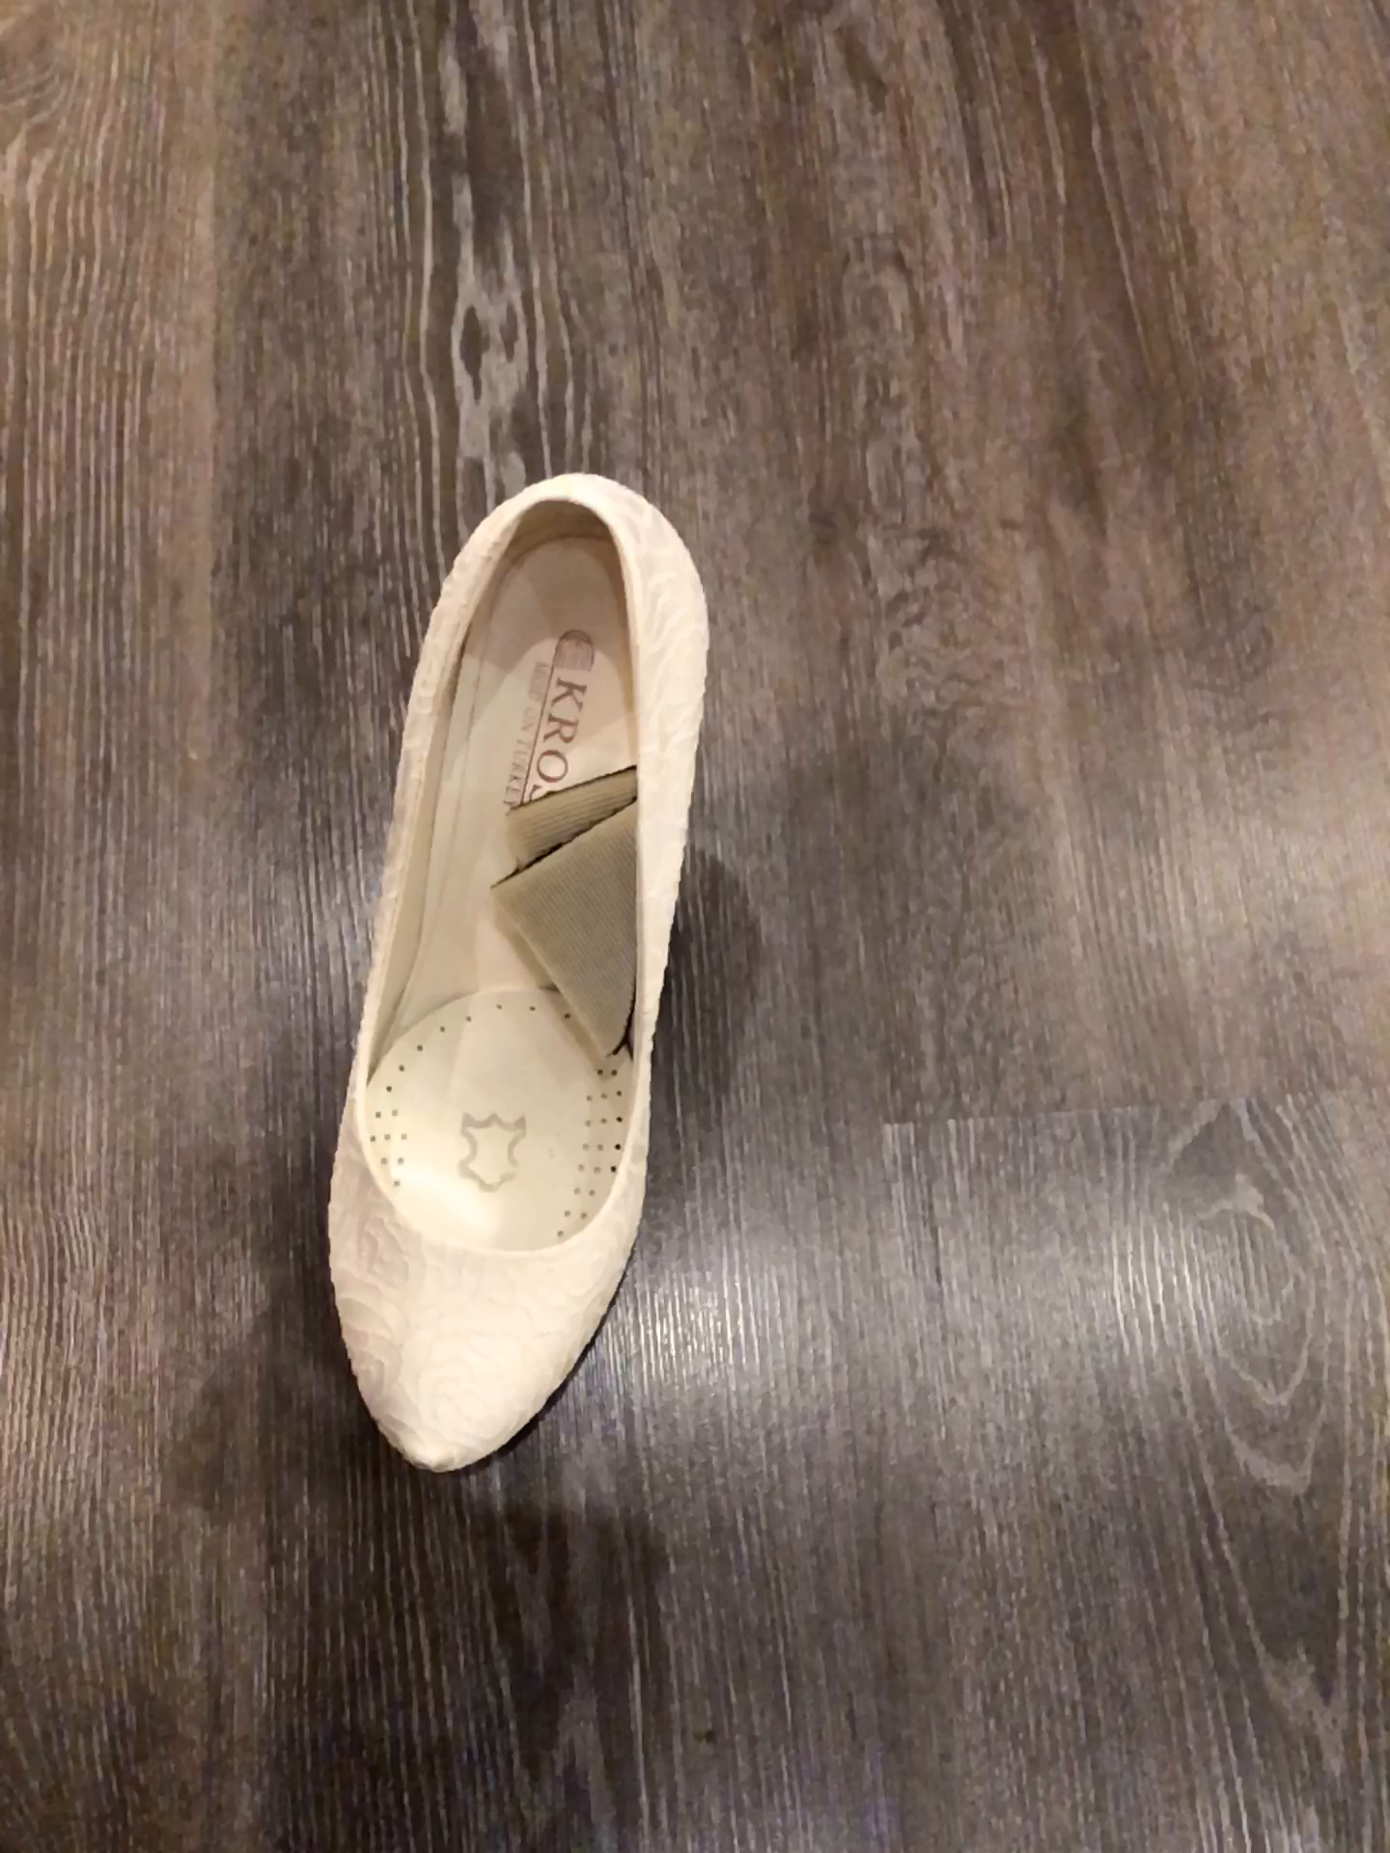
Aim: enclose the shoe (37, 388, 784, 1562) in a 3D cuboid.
[{"bbox_3d":[-0.046,0.019,0.351,0.090,0.150,0.210,10,72,2],"label":"shoe"}]
